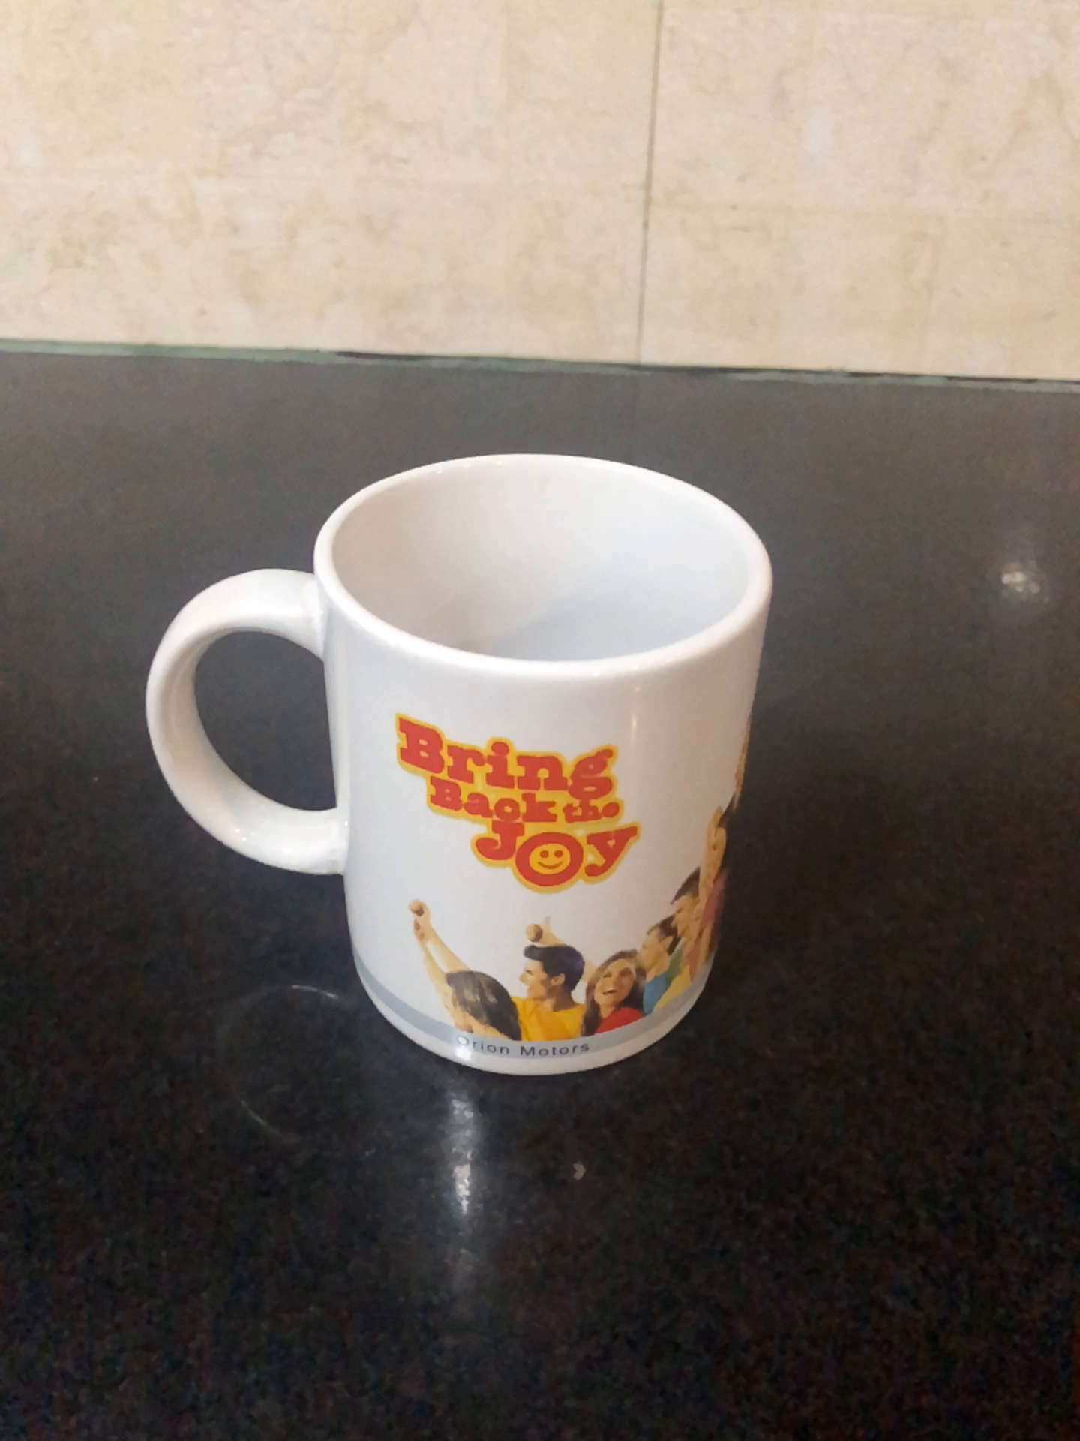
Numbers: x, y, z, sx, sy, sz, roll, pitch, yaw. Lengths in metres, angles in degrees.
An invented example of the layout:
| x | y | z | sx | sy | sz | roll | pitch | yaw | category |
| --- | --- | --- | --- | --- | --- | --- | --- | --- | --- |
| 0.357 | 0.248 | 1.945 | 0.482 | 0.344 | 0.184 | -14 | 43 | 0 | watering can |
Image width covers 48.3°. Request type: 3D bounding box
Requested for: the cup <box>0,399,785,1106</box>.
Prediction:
| x | y | z | sx | sy | sz | roll | pitch | yaw | category |
| --- | --- | --- | --- | --- | --- | --- | --- | --- | --- |
| -0.020 | 0.003 | 0.237 | 0.120 | 0.099 | 0.081 | 5 | 35 | 6 | cup |
